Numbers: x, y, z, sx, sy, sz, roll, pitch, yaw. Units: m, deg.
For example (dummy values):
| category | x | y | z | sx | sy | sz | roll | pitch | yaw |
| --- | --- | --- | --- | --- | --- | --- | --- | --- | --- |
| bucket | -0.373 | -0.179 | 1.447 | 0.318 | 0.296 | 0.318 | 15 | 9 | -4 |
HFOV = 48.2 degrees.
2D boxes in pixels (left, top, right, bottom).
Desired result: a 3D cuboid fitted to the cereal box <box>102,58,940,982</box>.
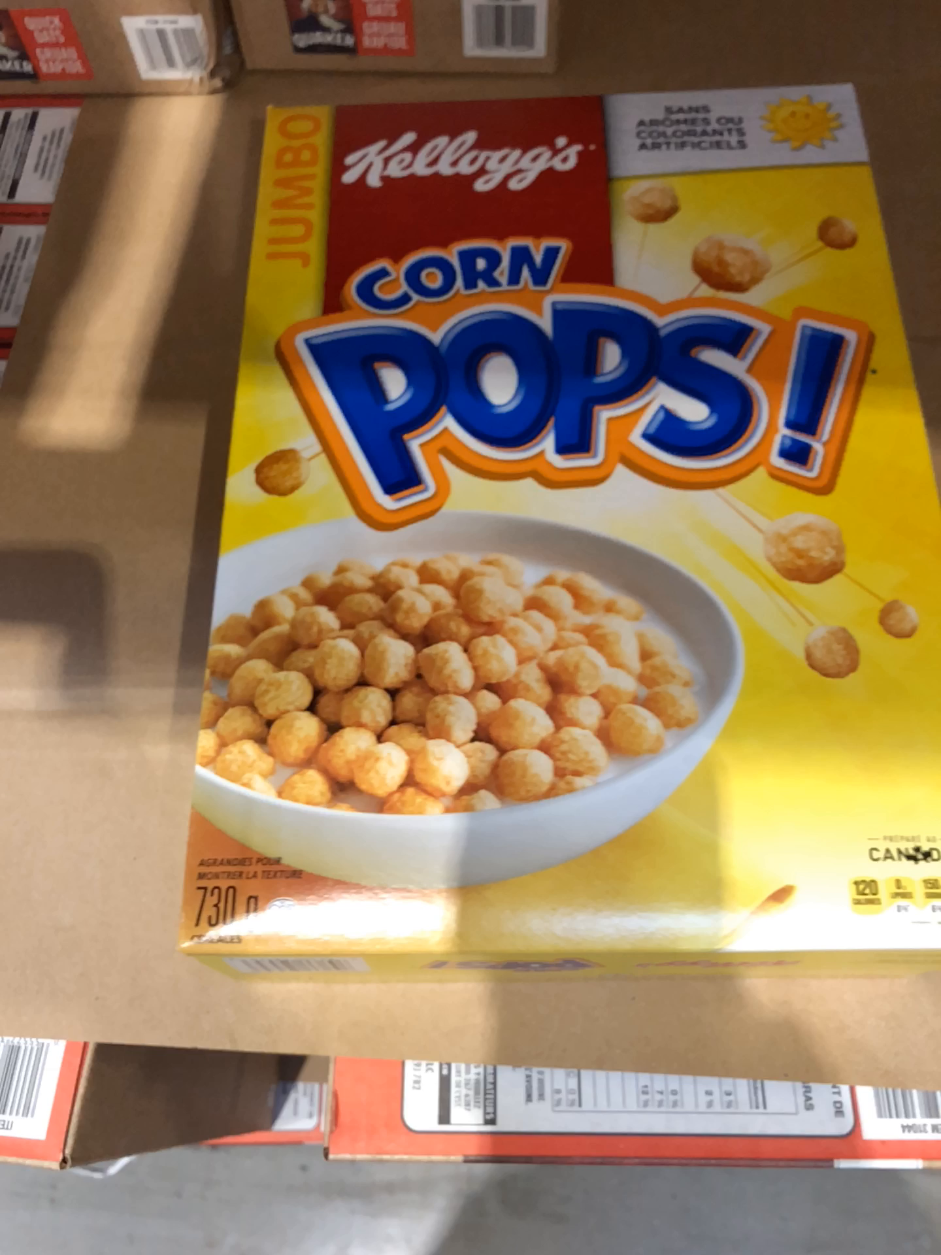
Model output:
| category | x | y | z | sx | sy | sz | roll | pitch | yaw |
| --- | --- | --- | --- | --- | --- | --- | --- | --- | --- |
| cereal box | 0.037 | -0.050 | 0.401 | 0.270 | 0.100 | 0.340 | -1 | 66 | 3 |
